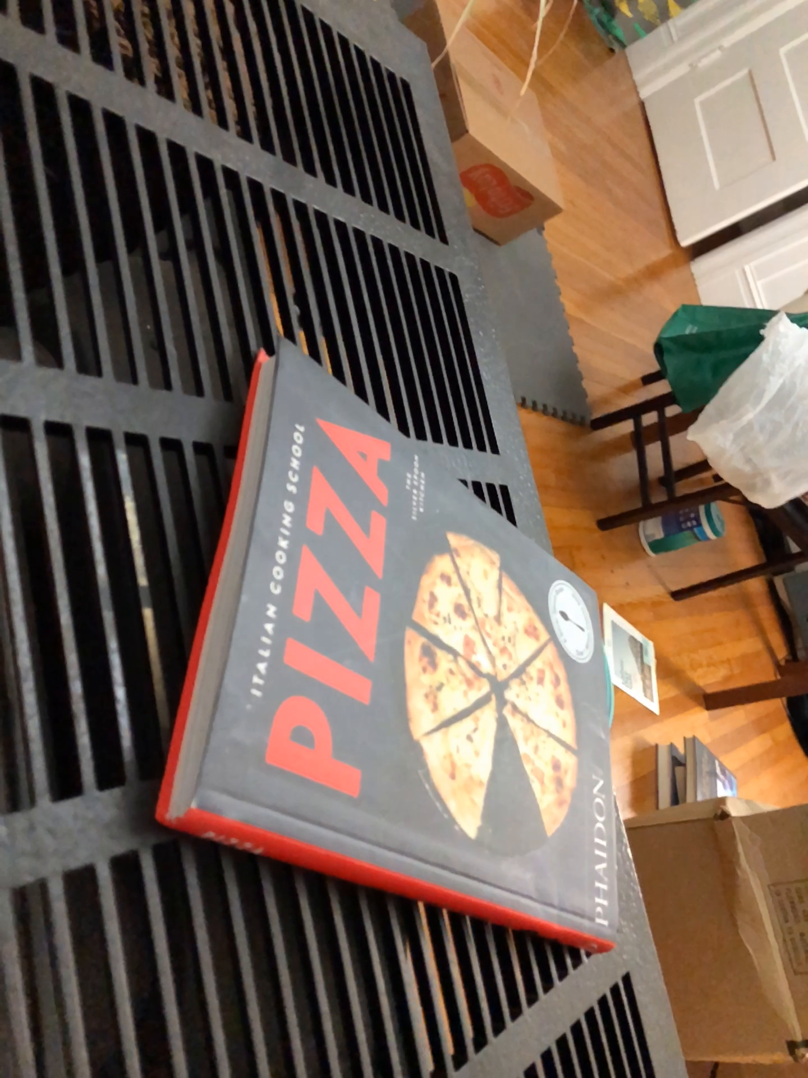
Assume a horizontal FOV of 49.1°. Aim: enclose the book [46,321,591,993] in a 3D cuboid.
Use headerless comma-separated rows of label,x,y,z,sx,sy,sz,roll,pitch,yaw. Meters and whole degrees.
book,0.000,0.056,0.331,0.231,0.020,0.181,35,48,-40
